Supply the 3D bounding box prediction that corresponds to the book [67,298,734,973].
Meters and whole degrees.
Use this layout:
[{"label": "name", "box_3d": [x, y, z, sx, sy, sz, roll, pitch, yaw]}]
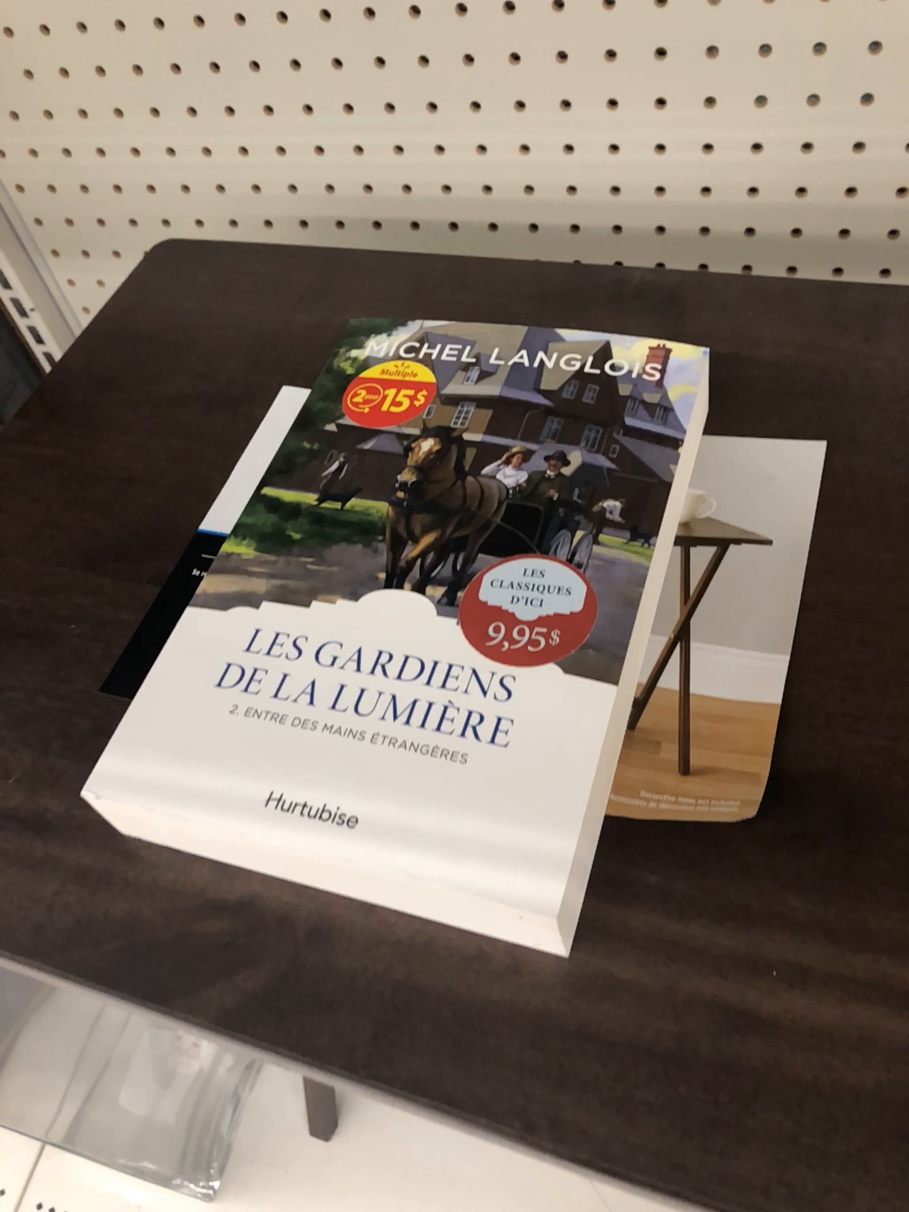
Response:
[{"label": "book", "box_3d": [-0.003, -0.014, 0.356, 0.159, 0.039, 0.234, 10, 56, 18]}]
